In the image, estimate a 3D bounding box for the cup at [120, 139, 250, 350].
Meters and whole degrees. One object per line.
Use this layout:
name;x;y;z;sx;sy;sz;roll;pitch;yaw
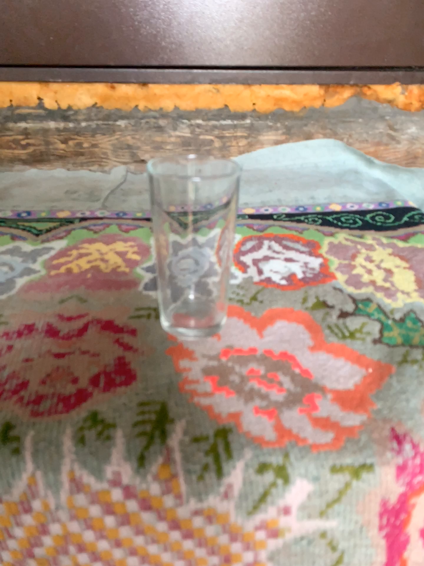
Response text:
cup;-0.014;-0.027;0.285;0.060;0.119;0.060;0;28;0
